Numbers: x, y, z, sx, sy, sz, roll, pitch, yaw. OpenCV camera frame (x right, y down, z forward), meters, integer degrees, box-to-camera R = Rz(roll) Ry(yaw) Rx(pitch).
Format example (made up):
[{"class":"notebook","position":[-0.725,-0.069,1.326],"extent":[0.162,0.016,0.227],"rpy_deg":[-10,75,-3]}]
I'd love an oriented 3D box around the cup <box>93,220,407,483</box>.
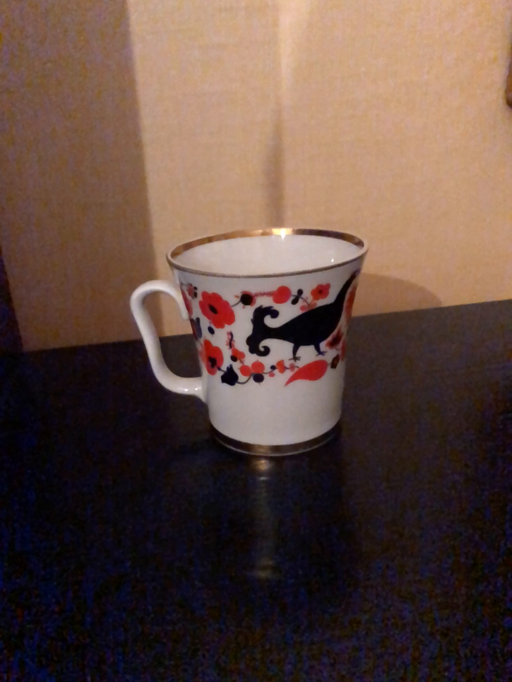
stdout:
[{"class":"cup","position":[-0.004,-0.003,0.288],"extent":[0.125,0.092,0.103],"rpy_deg":[-4,22,-5]}]
